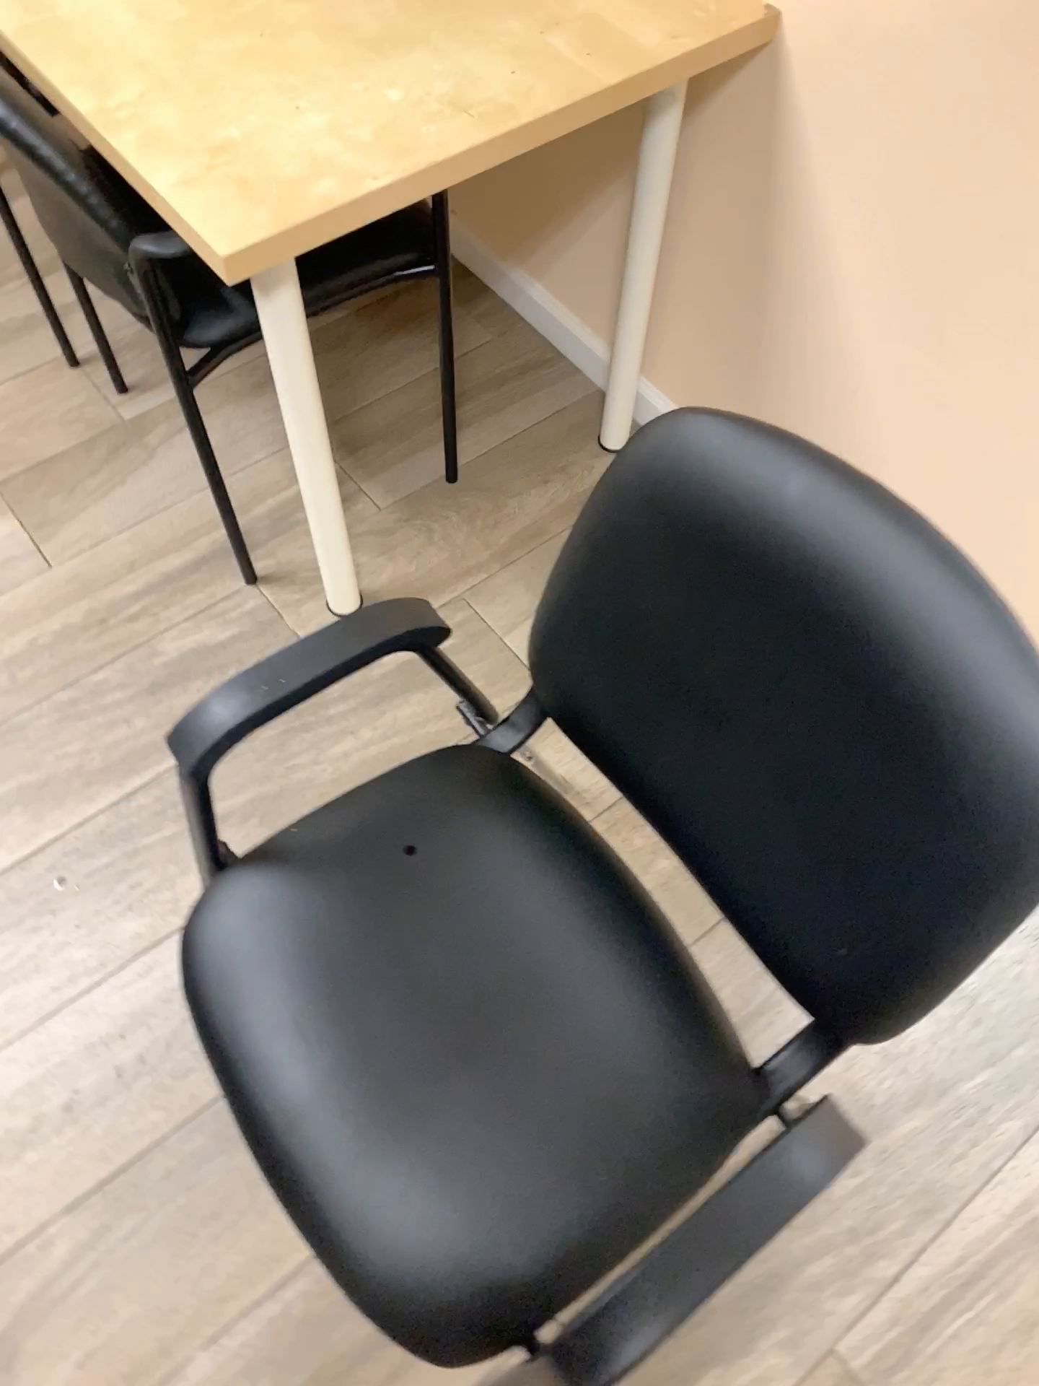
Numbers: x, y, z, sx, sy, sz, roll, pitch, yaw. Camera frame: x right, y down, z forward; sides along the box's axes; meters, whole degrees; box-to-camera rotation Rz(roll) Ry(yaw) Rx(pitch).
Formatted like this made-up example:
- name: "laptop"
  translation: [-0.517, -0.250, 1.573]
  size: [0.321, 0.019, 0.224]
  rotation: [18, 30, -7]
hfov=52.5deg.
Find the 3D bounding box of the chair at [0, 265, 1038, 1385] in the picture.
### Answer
- name: "chair"
  translation: [0.035, 0.232, 0.962]
  size: [0.624, 0.798, 0.607]
  rotation: [-33, 66, -19]
